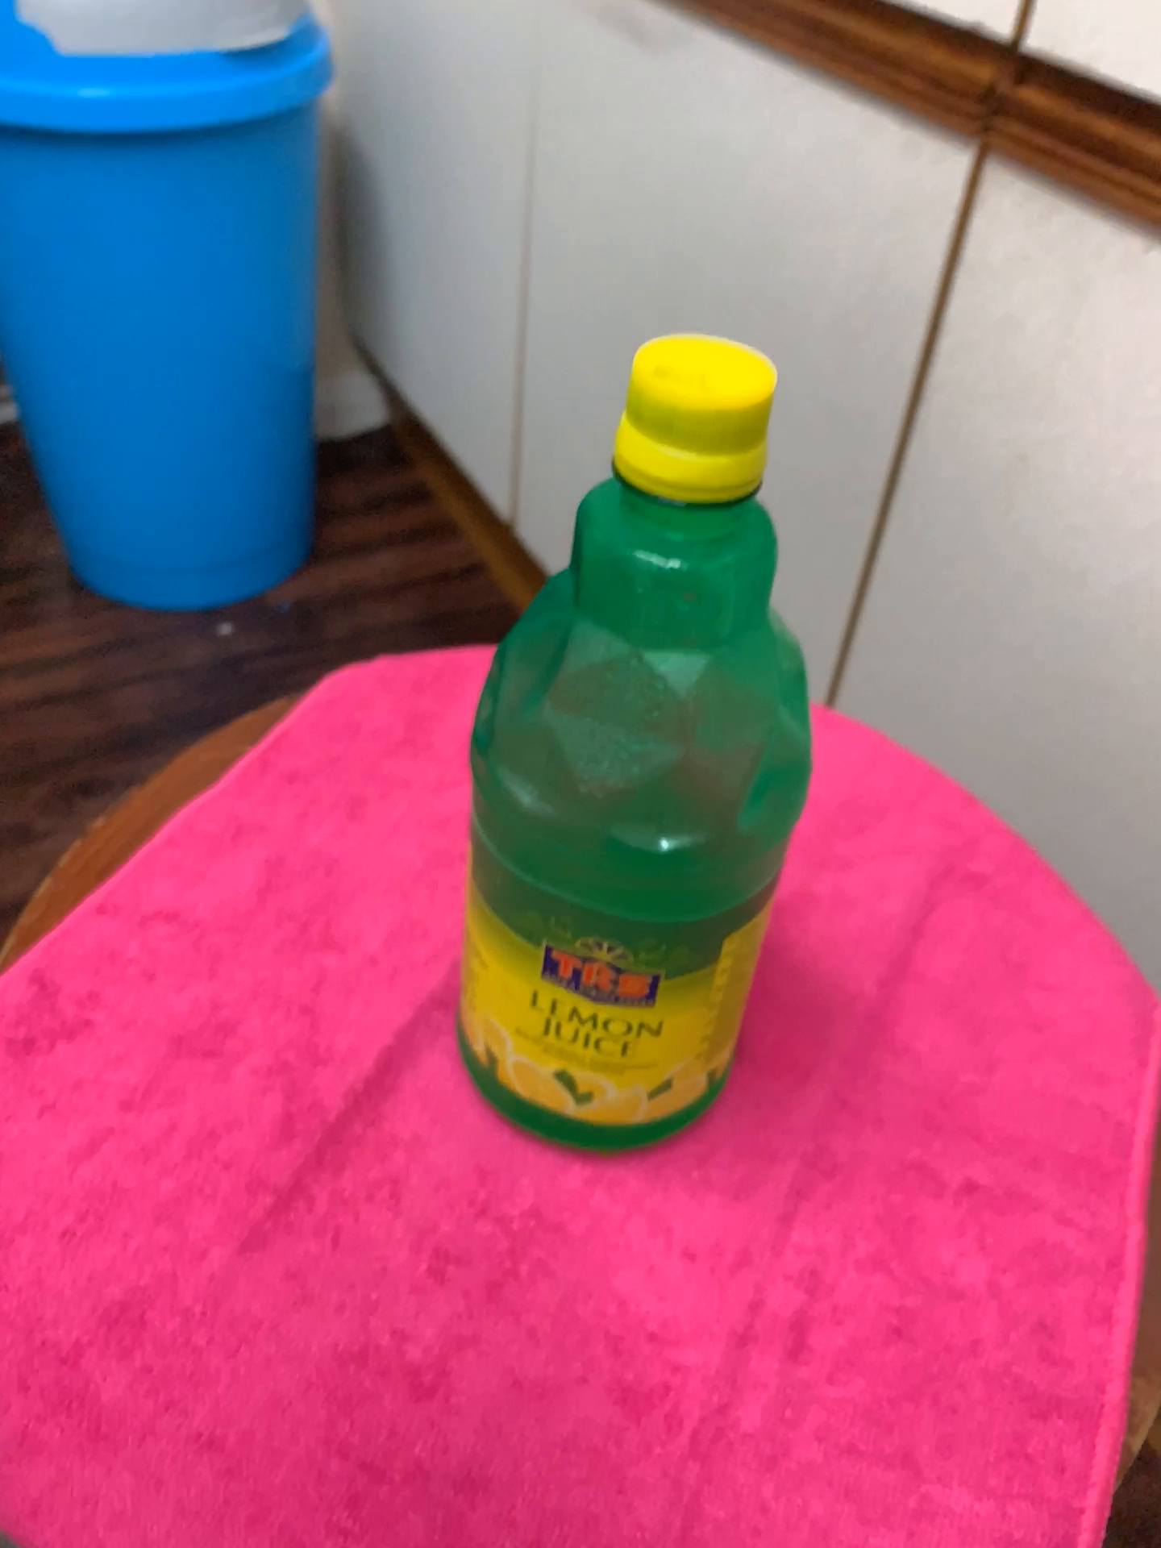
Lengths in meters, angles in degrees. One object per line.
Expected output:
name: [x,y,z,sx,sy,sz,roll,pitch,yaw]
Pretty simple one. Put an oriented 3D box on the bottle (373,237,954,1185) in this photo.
bottle: [0.012,-0.001,0.316,0.100,0.228,0.091,10,43,4]
